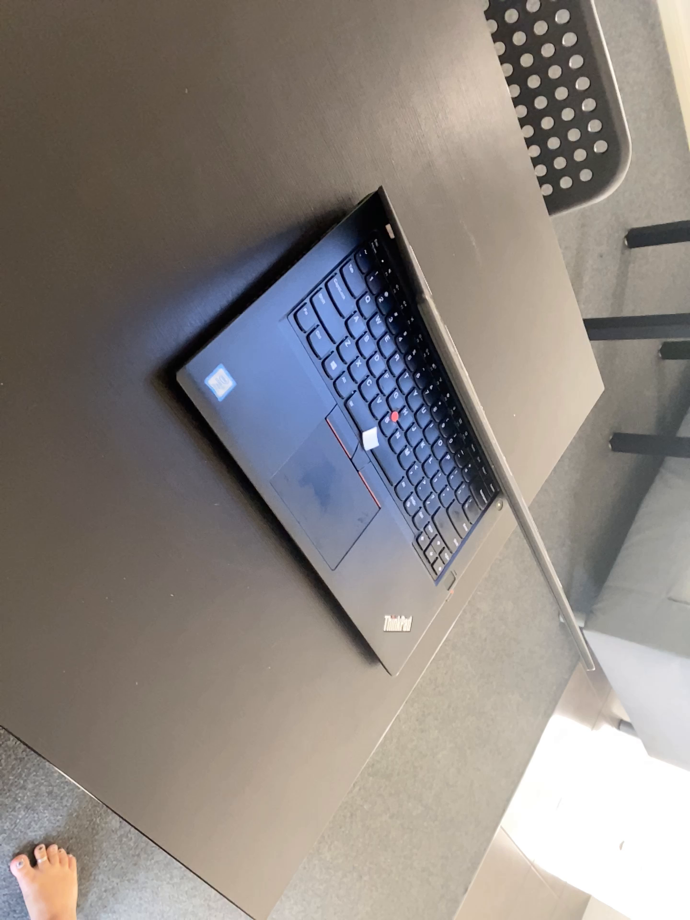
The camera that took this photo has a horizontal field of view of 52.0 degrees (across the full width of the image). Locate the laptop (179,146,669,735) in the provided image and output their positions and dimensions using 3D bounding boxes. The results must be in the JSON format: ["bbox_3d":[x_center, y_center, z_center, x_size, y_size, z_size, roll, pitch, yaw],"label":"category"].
[{"bbox_3d":[0.082,-0.004,0.486,0.216,0.138,0.300,-51,127,-26],"label":"laptop"}]
